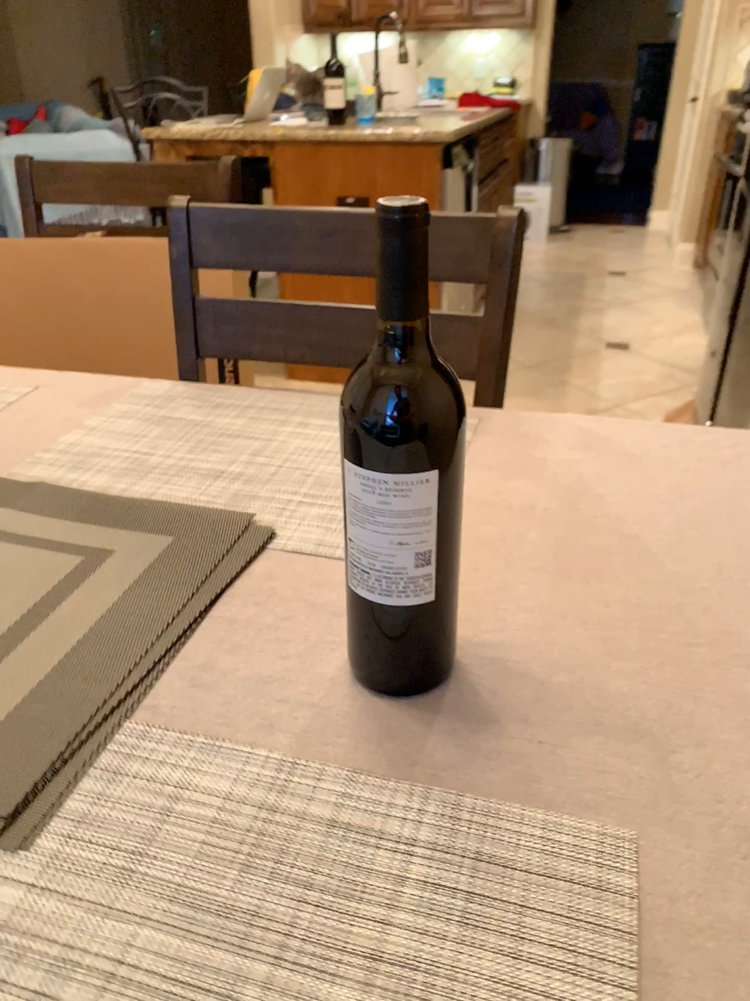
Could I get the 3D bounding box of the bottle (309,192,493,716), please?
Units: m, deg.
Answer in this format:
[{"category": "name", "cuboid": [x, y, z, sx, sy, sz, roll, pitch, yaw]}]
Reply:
[{"category": "bottle", "cuboid": [0.018, -0.018, 0.483, 0.080, 0.314, 0.080, -1, 29, 0]}]
